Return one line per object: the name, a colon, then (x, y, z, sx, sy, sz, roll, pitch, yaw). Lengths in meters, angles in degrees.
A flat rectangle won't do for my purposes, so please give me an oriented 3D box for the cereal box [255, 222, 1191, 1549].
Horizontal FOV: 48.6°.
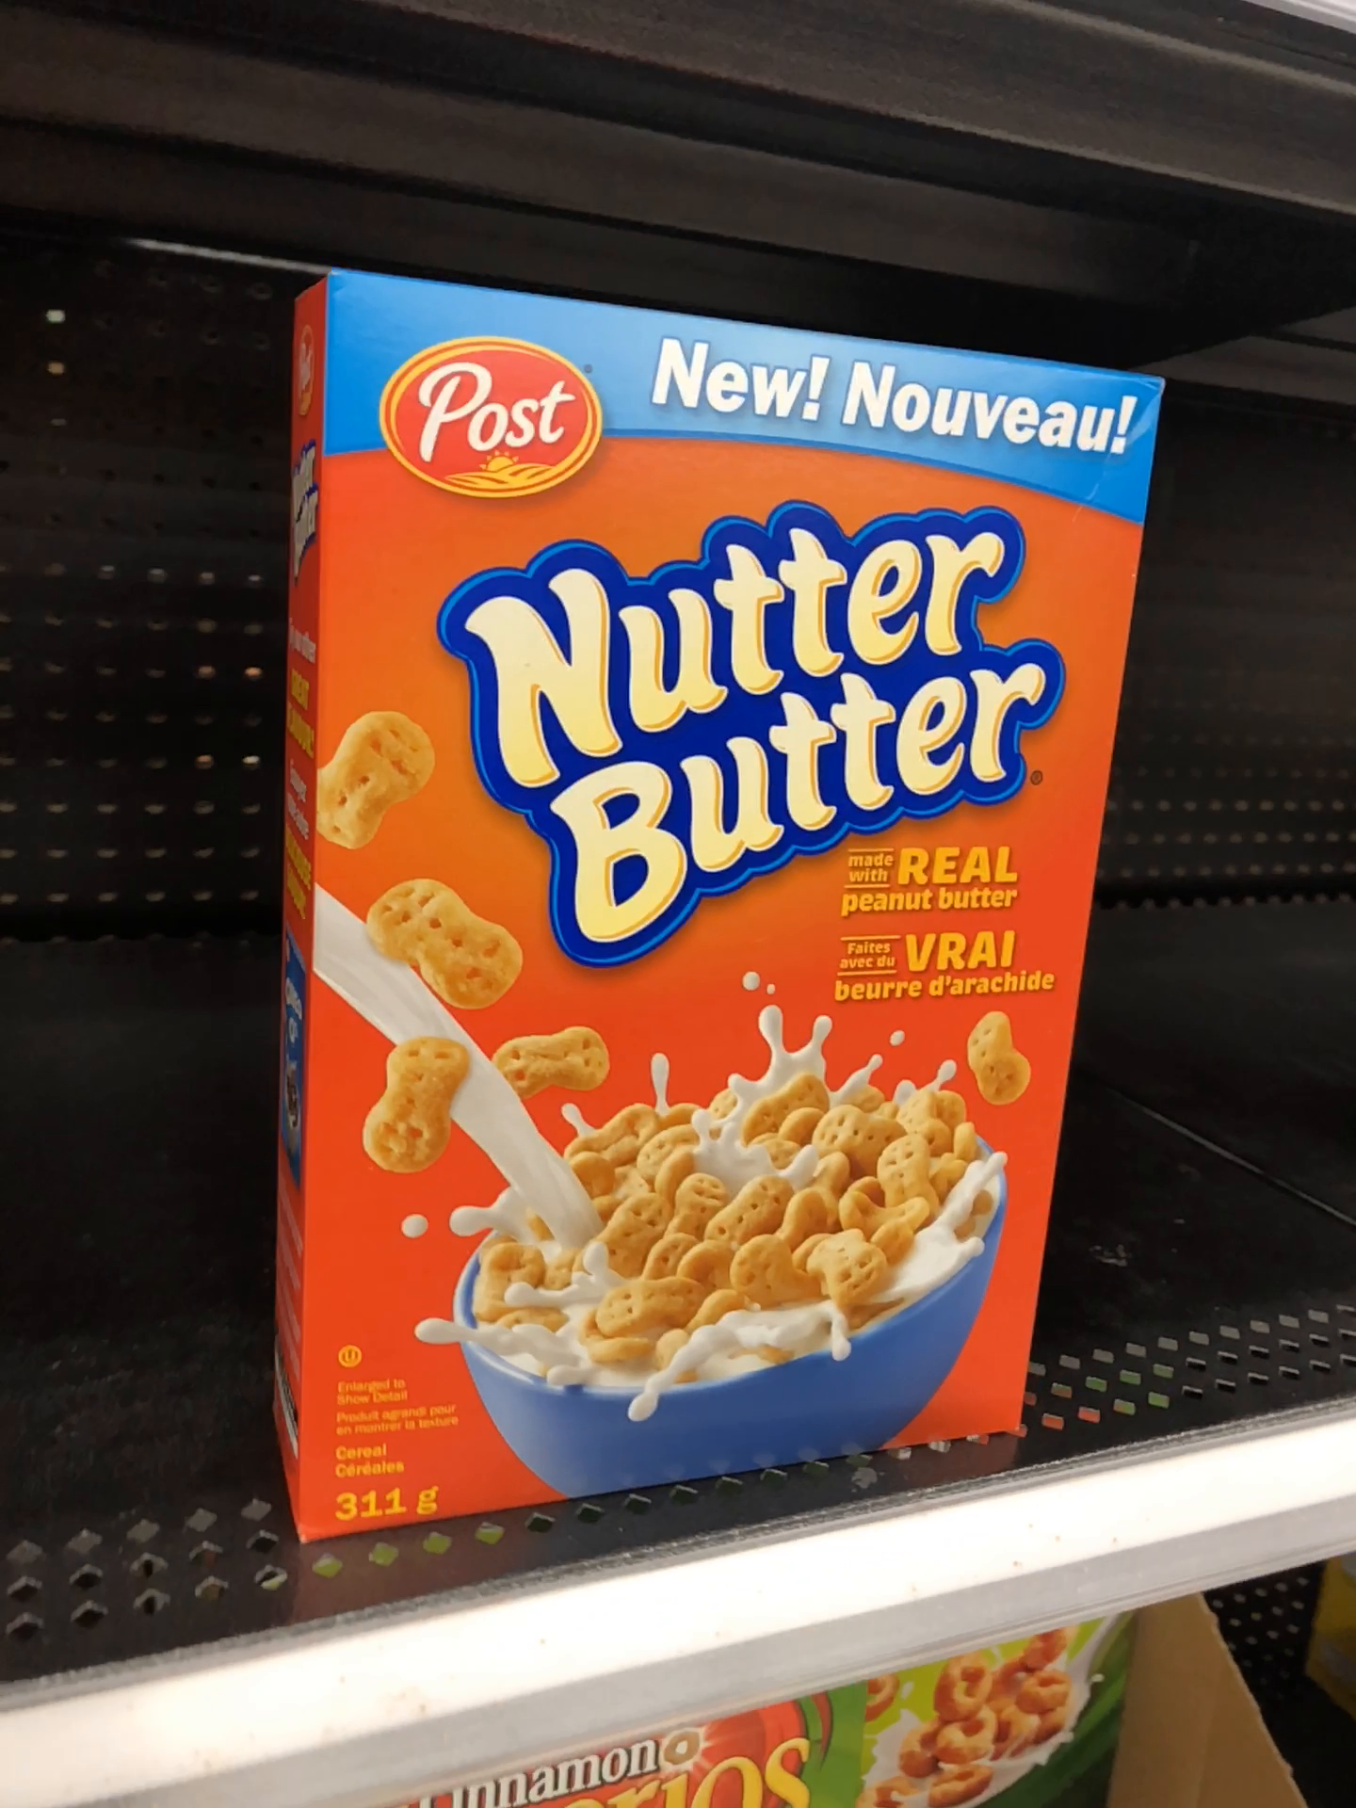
cereal box: (0.004, 0.001, 0.370, 0.200, 0.279, 0.060, 0, 14, -21)
